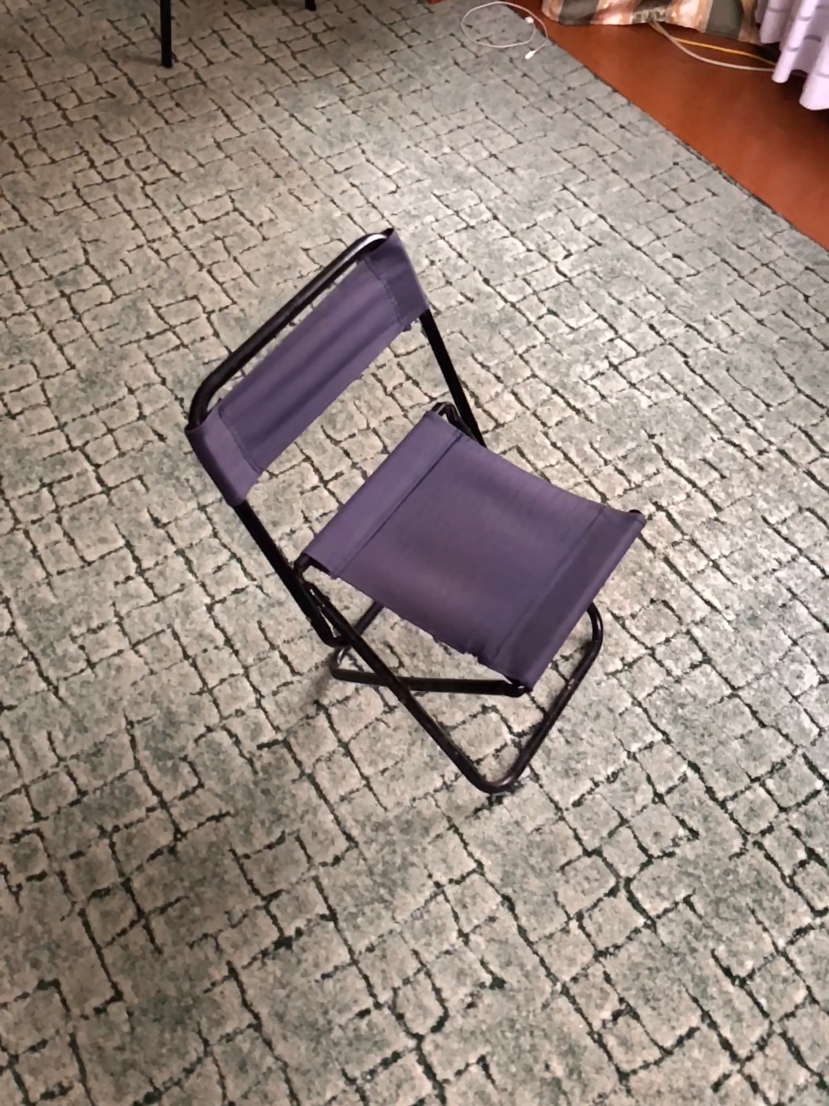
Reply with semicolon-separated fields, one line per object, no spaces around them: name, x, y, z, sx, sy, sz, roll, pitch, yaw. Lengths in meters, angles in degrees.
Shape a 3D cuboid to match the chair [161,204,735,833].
chair;0.031;-0.009;1.046;0.398;0.537;0.343;30;61;17
